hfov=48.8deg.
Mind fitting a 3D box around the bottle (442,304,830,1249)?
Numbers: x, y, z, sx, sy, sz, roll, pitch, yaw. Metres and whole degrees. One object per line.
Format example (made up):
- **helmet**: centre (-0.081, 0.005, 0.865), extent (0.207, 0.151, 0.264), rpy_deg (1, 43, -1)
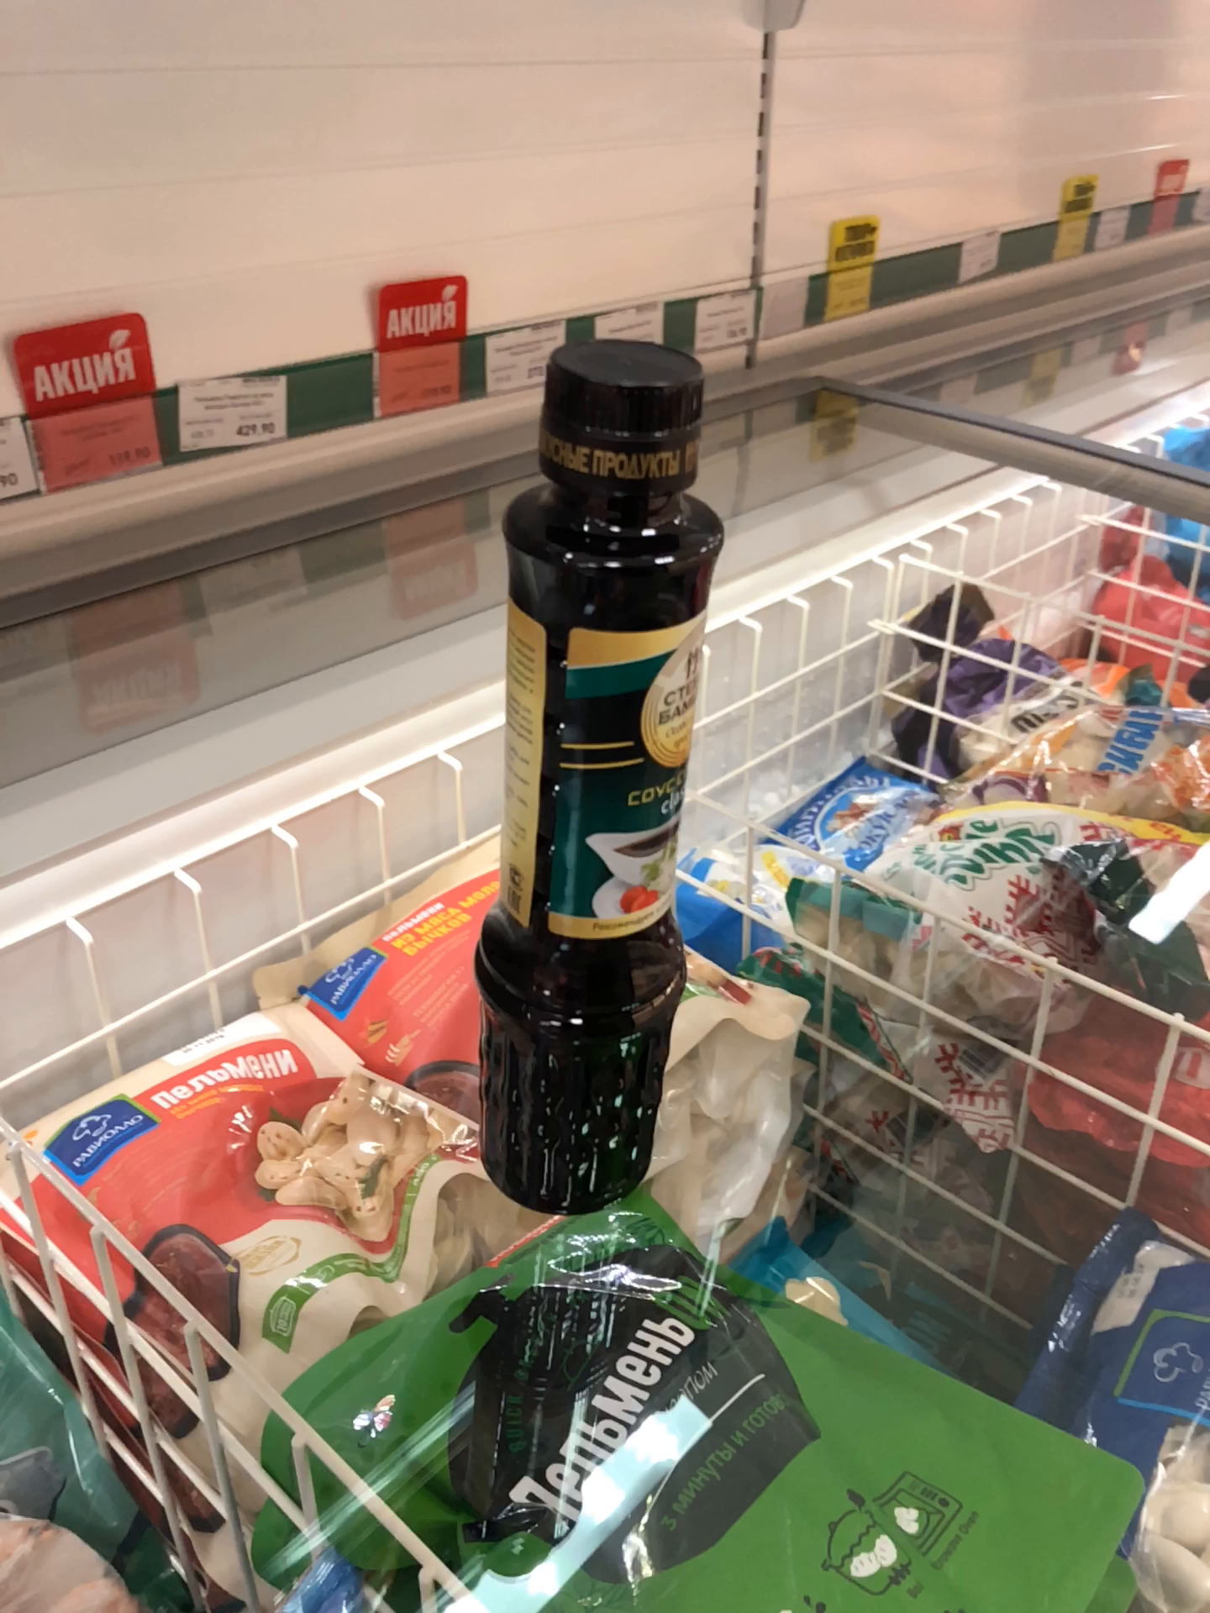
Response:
- **bottle**: centre (0.002, 0.000, 0.299), extent (0.053, 0.199, 0.058), rpy_deg (3, 31, -2)
